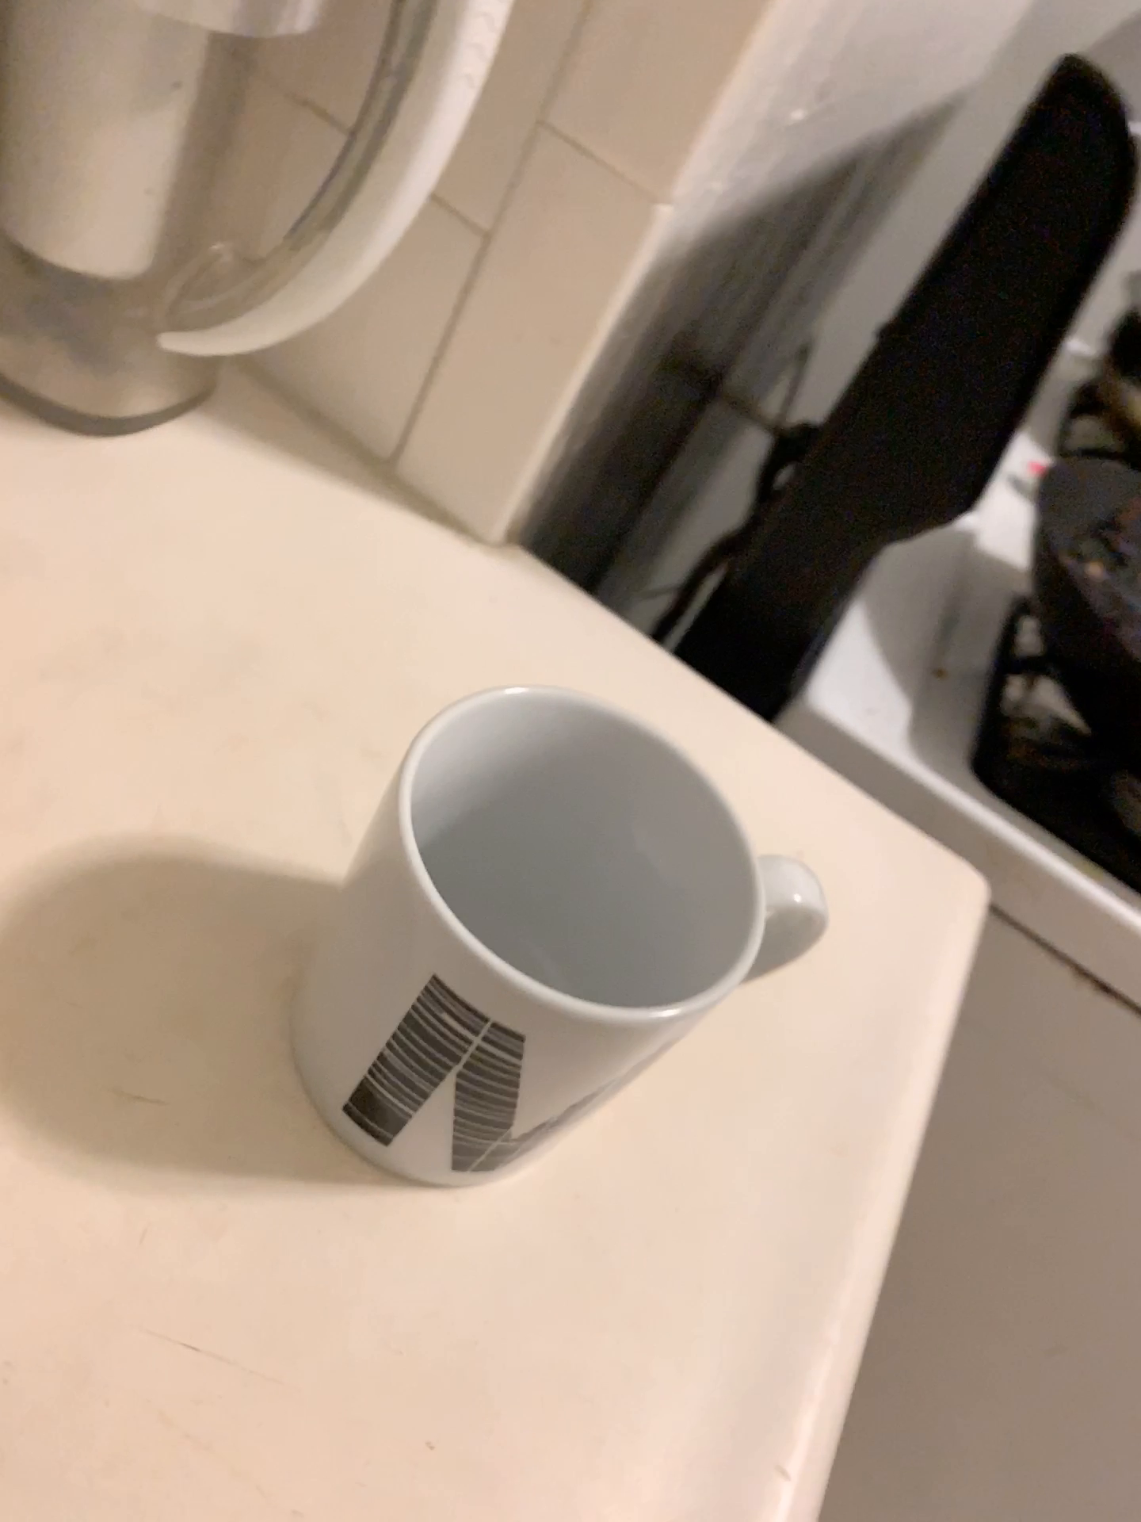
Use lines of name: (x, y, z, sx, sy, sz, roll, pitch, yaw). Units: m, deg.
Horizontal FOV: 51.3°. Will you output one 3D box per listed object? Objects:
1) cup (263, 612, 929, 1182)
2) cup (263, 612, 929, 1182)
cup: (-0.002, 0.041, 0.332, 0.130, 0.110, 0.100, 5, 50, -29)
cup: (-0.002, 0.041, 0.332, 0.130, 0.110, 0.100, 5, 50, -29)
